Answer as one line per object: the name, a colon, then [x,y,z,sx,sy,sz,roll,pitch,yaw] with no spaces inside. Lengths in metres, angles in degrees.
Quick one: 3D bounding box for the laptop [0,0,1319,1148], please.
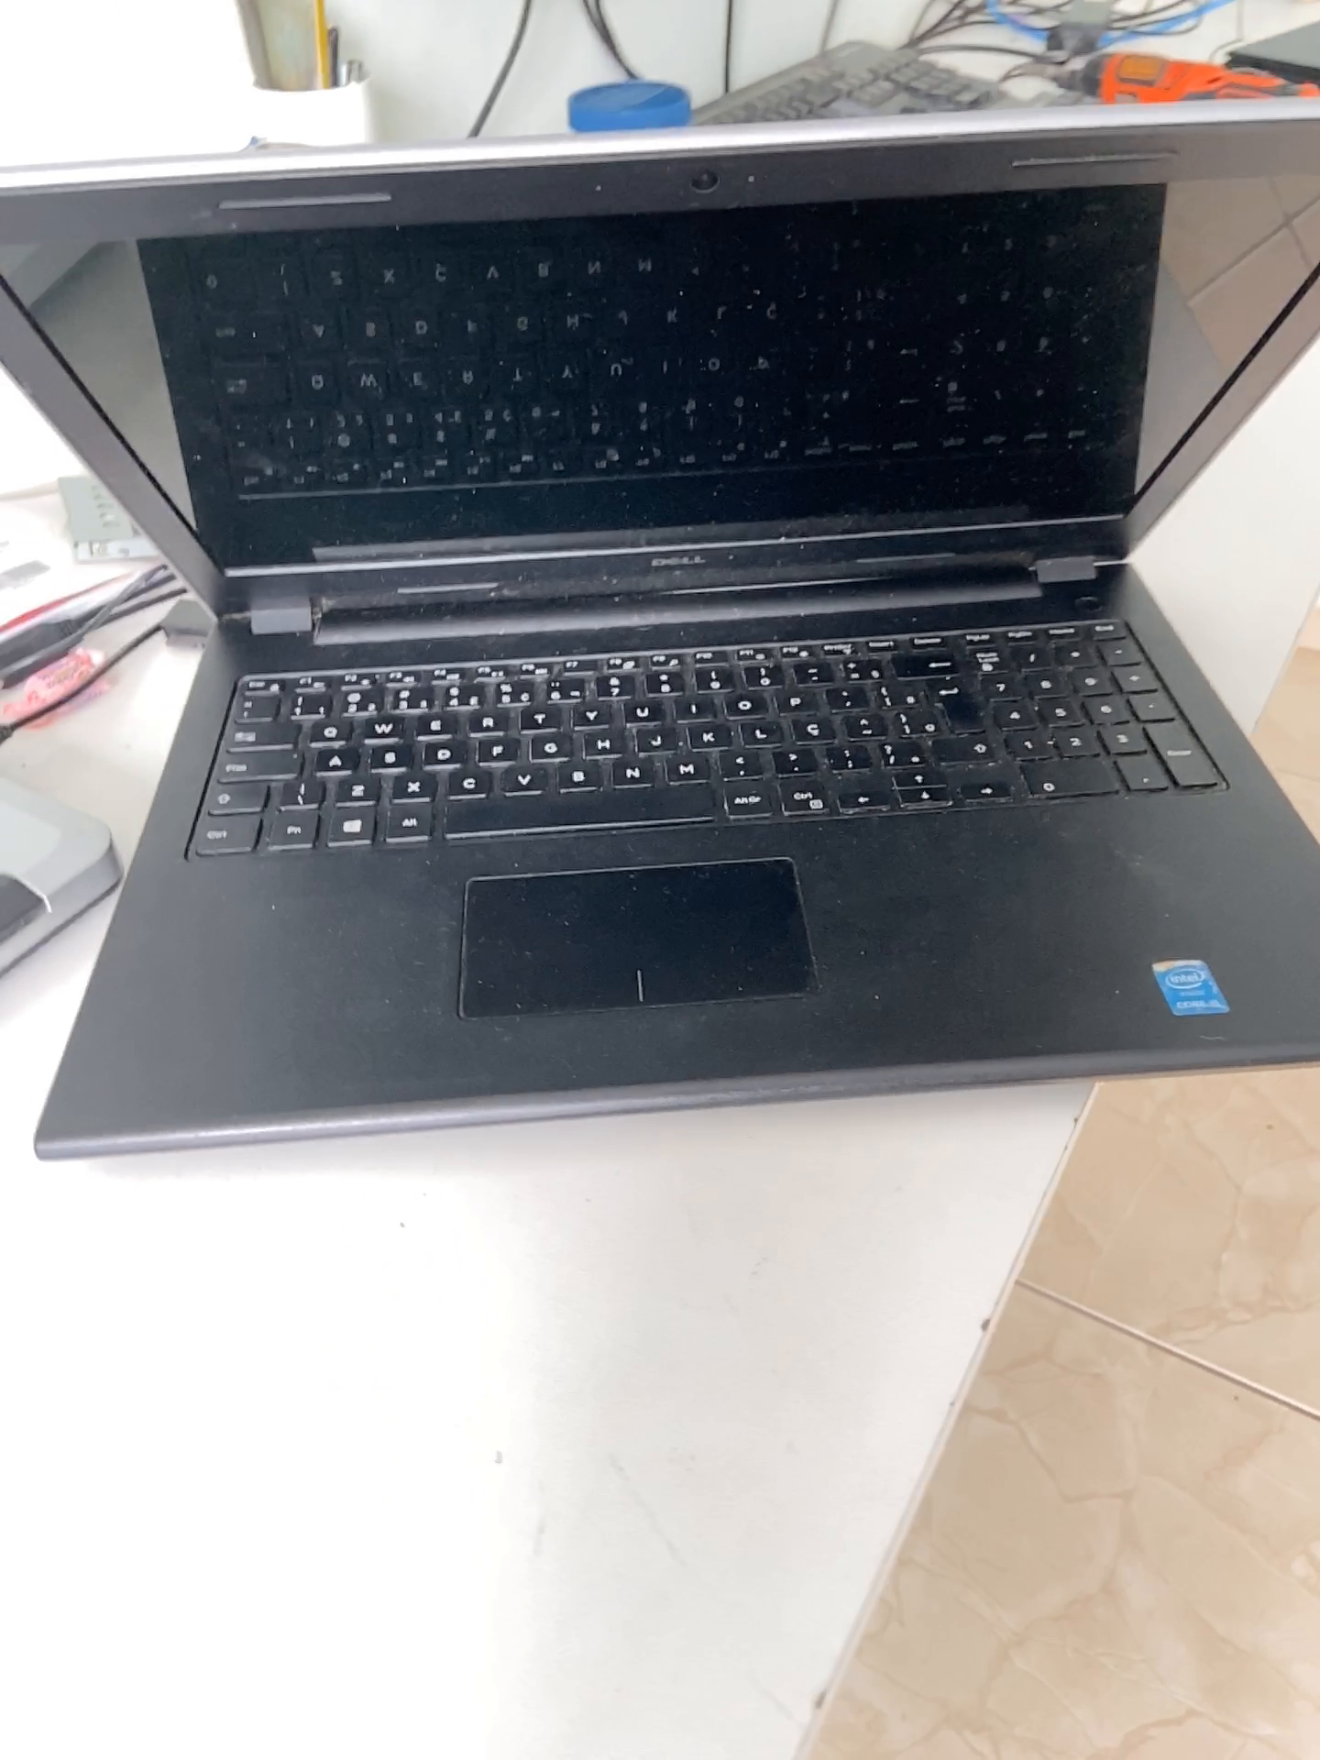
laptop: [0.016,-0.105,0.393,0.374,0.204,0.258,-4,42,-3]
